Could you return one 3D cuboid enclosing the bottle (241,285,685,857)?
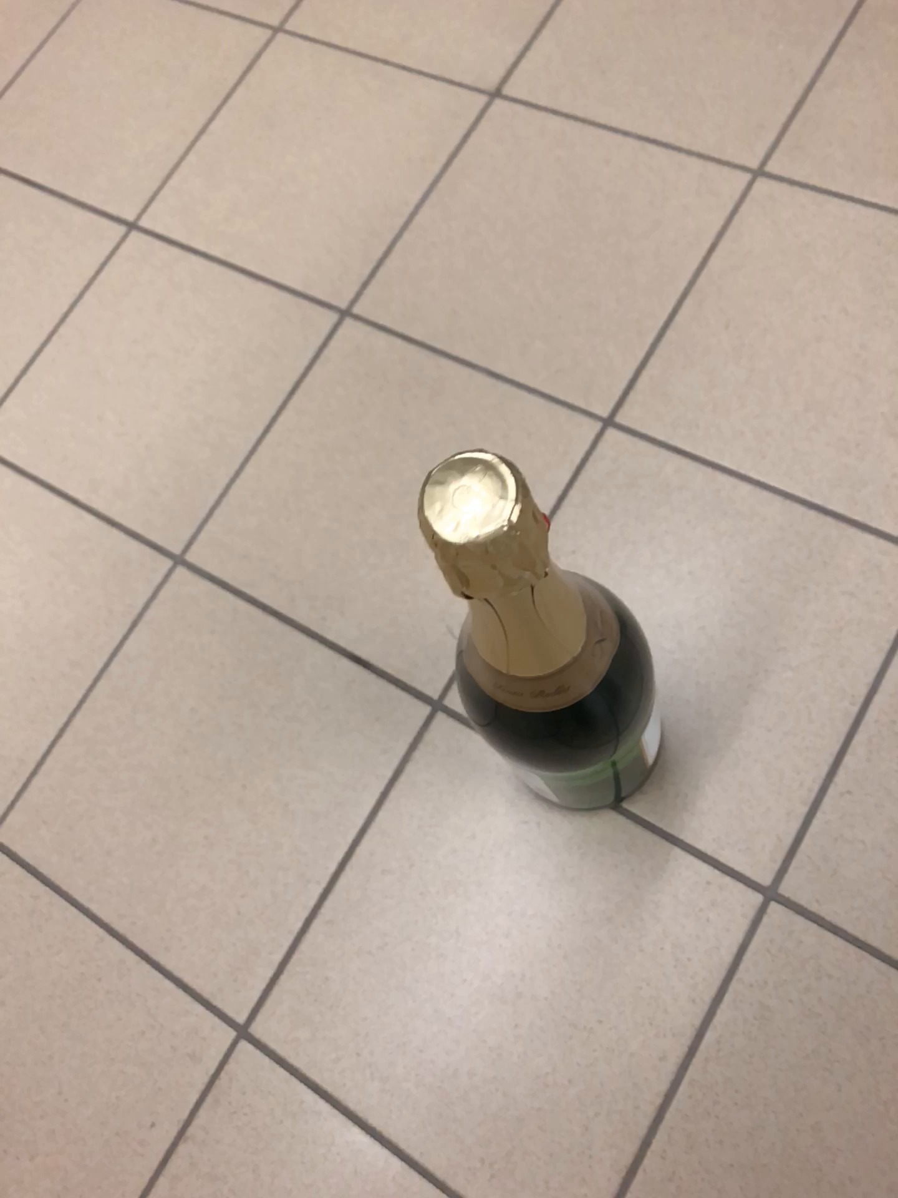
[{"bbox_3d":[0.031,0.023,0.402,0.090,0.299,0.100,-24,66,4],"label":"bottle"}]
